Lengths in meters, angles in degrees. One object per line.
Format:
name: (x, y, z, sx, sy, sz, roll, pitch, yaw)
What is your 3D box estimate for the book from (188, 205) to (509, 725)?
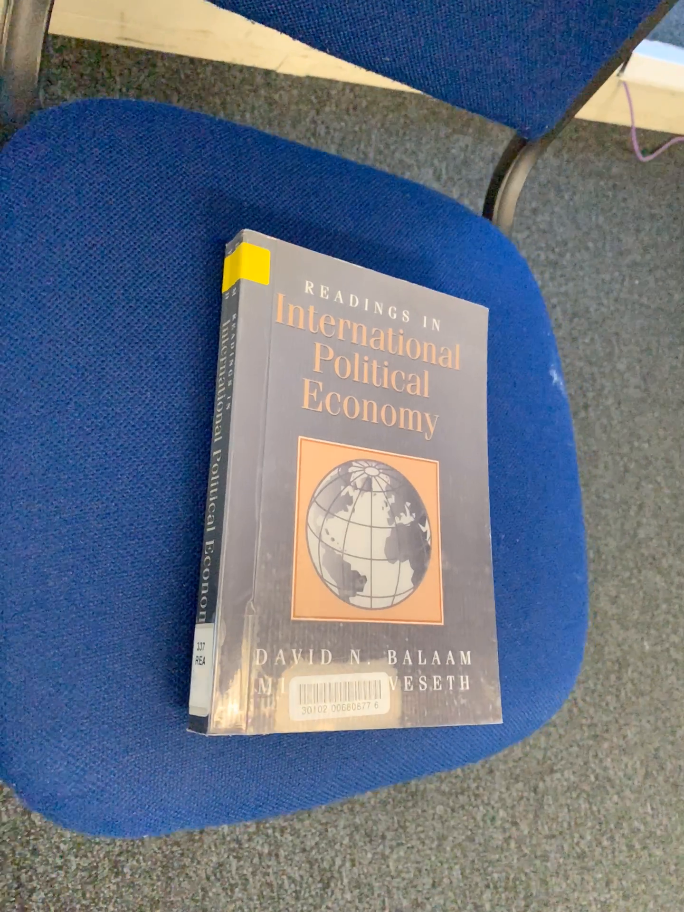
book: (0.011, 0.007, 0.341, 0.151, 0.030, 0.220, 10, 73, -31)
